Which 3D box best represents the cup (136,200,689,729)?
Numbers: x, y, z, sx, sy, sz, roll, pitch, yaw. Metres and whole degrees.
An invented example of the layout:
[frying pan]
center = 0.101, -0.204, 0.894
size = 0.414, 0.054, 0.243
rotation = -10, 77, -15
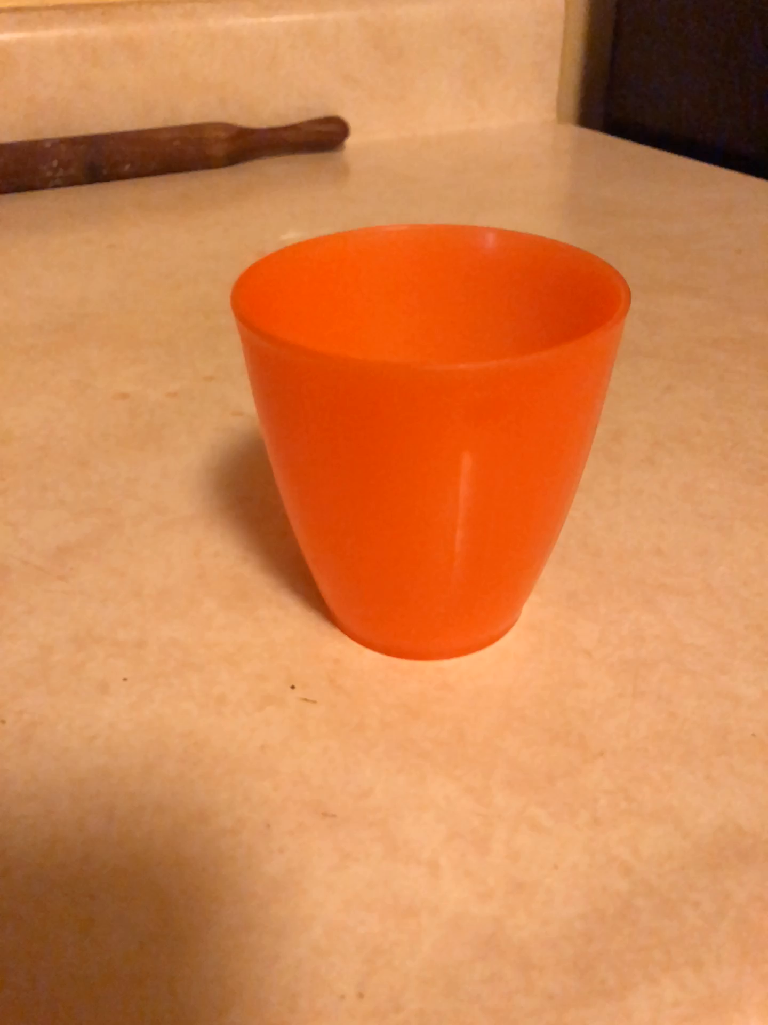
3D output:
[cup]
center = 0.001, -0.018, 0.187
size = 0.080, 0.070, 0.080
rotation = -1, 33, 1
